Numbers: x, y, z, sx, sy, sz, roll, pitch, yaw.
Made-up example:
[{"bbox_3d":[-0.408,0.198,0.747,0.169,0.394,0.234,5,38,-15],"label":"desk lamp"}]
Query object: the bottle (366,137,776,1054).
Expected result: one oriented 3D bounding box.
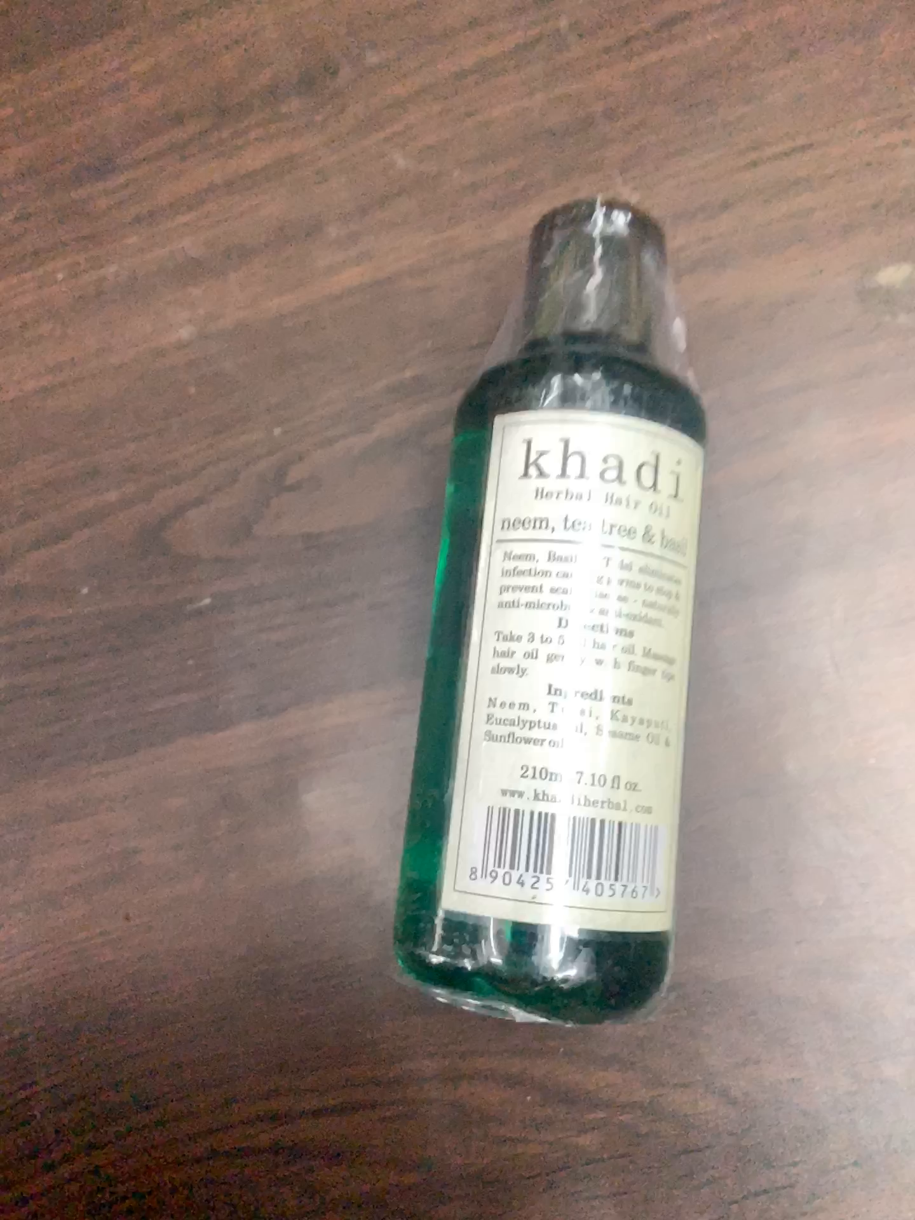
[{"bbox_3d":[0.021,-0.002,0.185,0.050,0.050,0.150,10,78,-16],"label":"bottle"}]
